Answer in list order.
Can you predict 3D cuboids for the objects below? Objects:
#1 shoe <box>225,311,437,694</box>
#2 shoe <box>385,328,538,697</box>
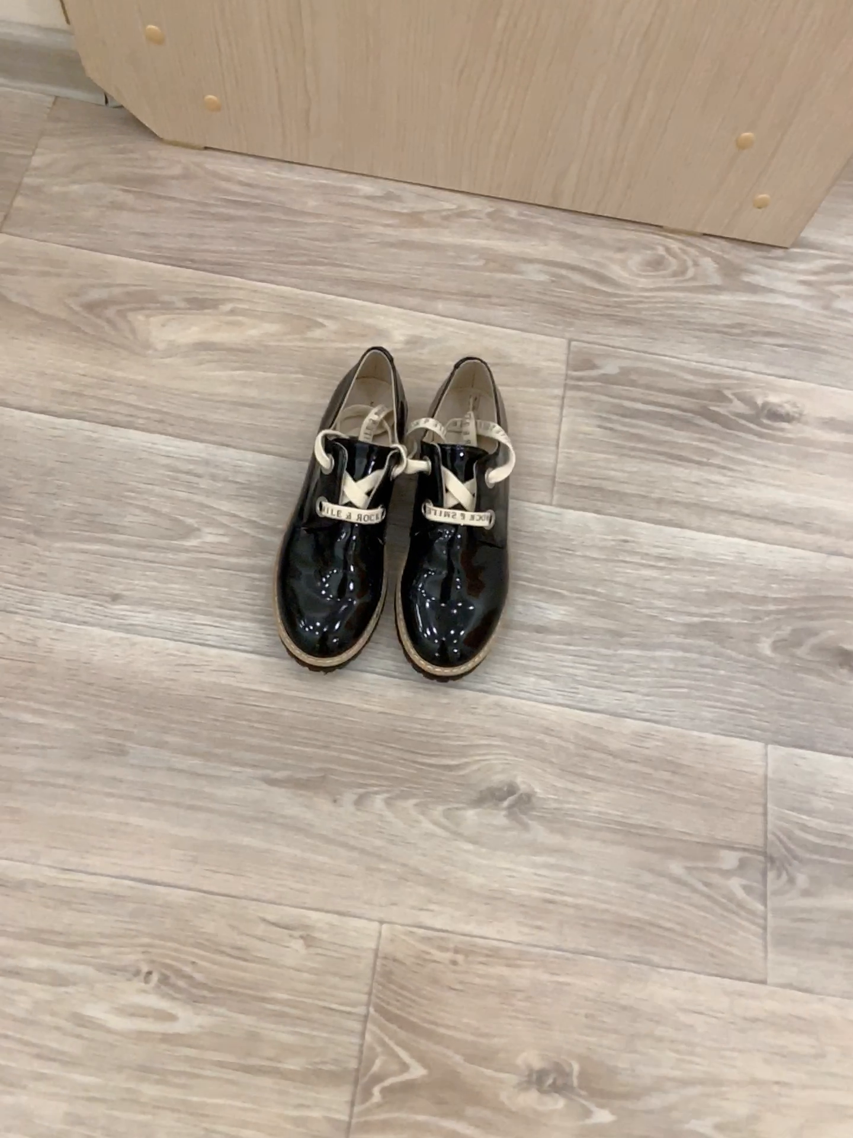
[{"bbox_3d":[-0.068,-0.053,0.686,0.100,0.100,0.270,11,68,-1],"label":"shoe"},{"bbox_3d":[0.029,-0.046,0.696,0.100,0.100,0.270,5,68,-4],"label":"shoe"}]
